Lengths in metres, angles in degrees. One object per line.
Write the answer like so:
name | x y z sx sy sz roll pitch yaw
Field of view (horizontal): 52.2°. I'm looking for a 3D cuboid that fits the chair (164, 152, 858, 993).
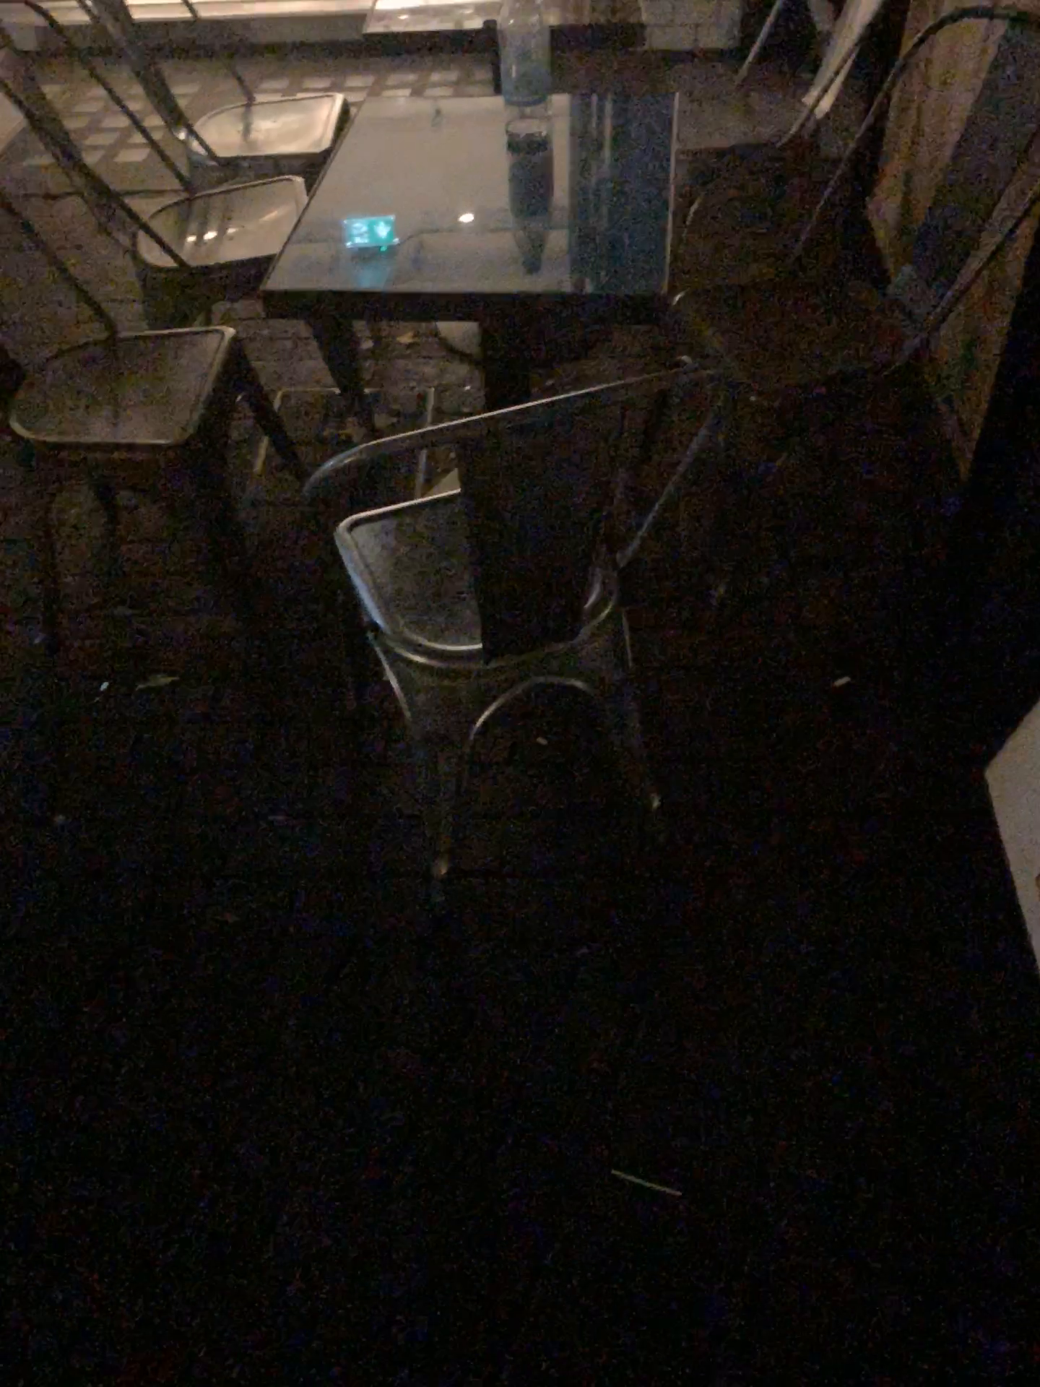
chair | -0.034 -0.150 1.333 0.501 0.723 0.605 -20 49 -14
